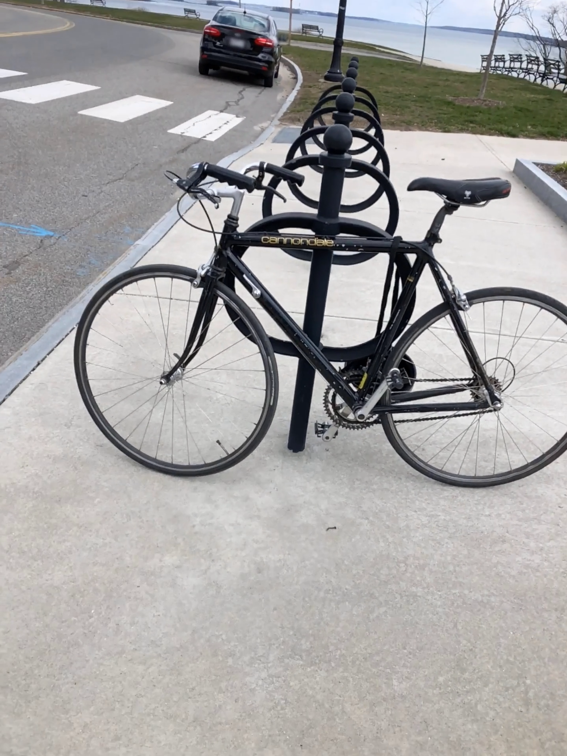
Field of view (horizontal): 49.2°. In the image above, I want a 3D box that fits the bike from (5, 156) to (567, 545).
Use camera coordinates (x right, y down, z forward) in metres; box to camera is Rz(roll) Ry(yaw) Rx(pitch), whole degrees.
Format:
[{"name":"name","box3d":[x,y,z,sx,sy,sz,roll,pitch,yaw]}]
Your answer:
[{"name":"bike","box3d":[0.127,-0.078,1.613,1.382,0.805,0.488,4,30,1]}]
